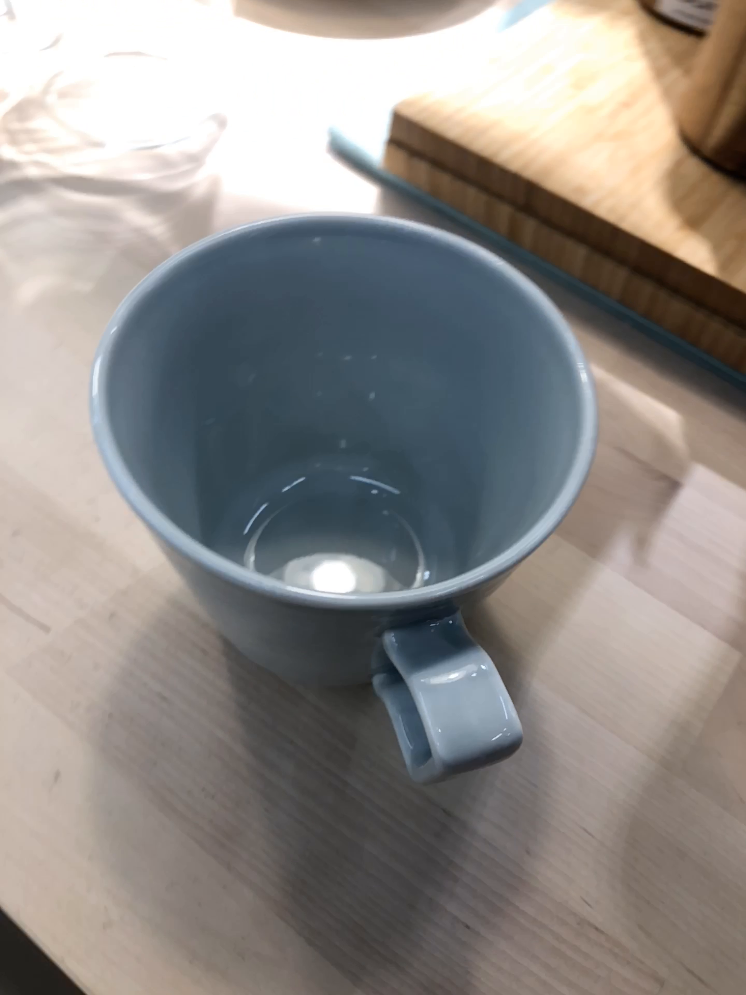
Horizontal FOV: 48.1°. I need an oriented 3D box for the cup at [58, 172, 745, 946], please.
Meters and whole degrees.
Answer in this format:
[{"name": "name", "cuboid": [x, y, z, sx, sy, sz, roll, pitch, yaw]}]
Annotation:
[{"name": "cup", "cuboid": [0.000, 0.007, 0.198, 0.110, 0.080, 0.141, -13, 58, -13]}]
